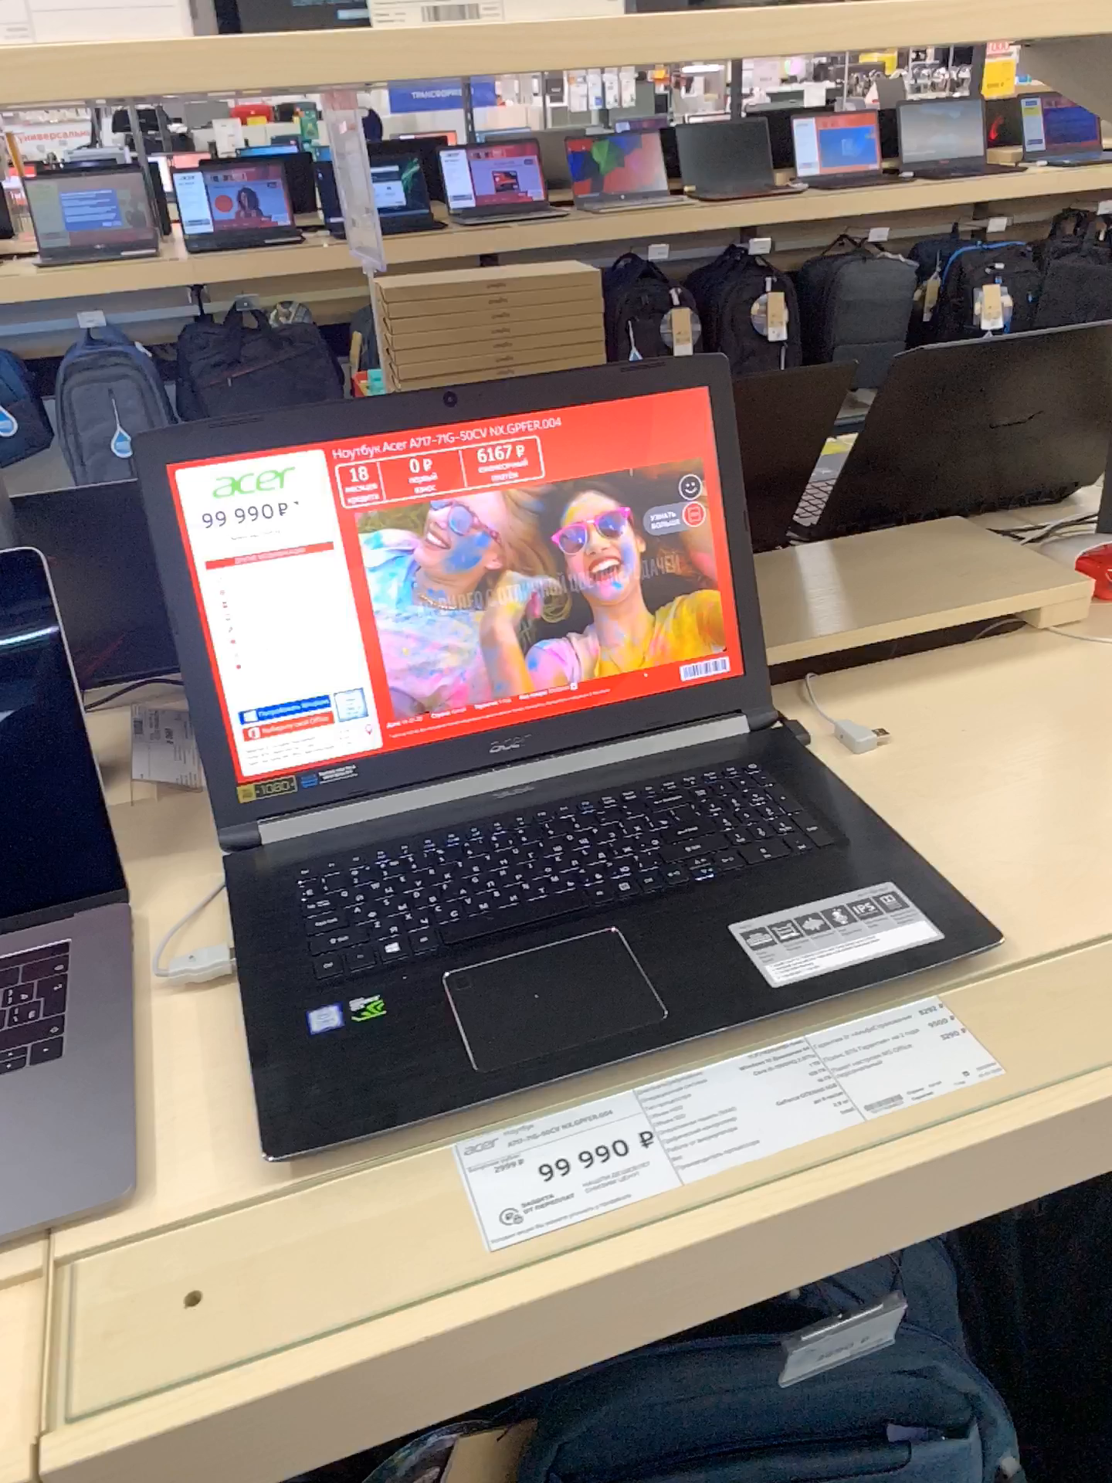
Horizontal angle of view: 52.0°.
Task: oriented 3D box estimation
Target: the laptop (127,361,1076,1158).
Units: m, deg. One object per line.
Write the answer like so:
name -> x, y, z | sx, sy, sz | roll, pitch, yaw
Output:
laptop -> -0.008, -0.039, 0.674 | 0.406, 0.248, 0.364 | -12, 31, -15
